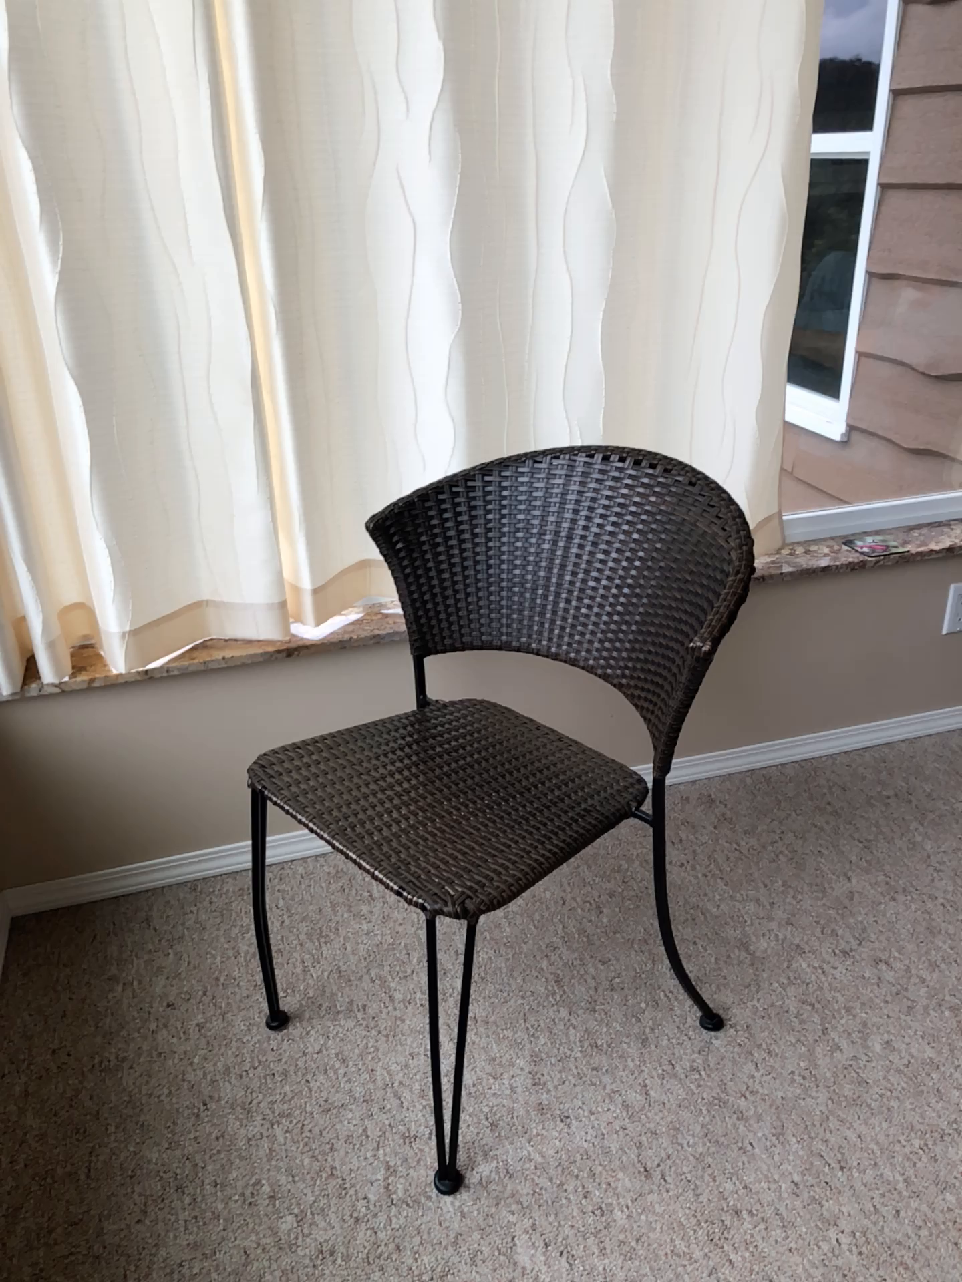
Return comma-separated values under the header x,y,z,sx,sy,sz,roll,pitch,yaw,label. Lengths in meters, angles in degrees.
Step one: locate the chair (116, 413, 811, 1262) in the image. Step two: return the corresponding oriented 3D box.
x,y,z,sx,sy,sz,roll,pitch,yaw,label
-0.020,0.183,1.421,0.611,0.787,0.561,-21,32,-36,chair
